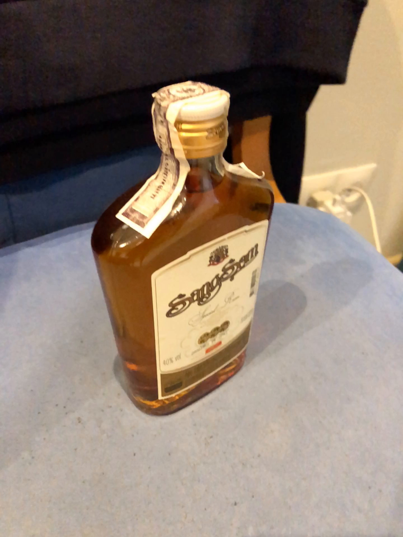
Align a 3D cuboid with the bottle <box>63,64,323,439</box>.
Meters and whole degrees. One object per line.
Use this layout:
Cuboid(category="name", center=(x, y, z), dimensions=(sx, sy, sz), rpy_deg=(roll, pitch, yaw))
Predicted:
Cuboid(category="bottle", center=(-0.005, 0.003, 0.228), dimensions=(0.090, 0.179, 0.041), rpy_deg=(-25, 51, -28))
